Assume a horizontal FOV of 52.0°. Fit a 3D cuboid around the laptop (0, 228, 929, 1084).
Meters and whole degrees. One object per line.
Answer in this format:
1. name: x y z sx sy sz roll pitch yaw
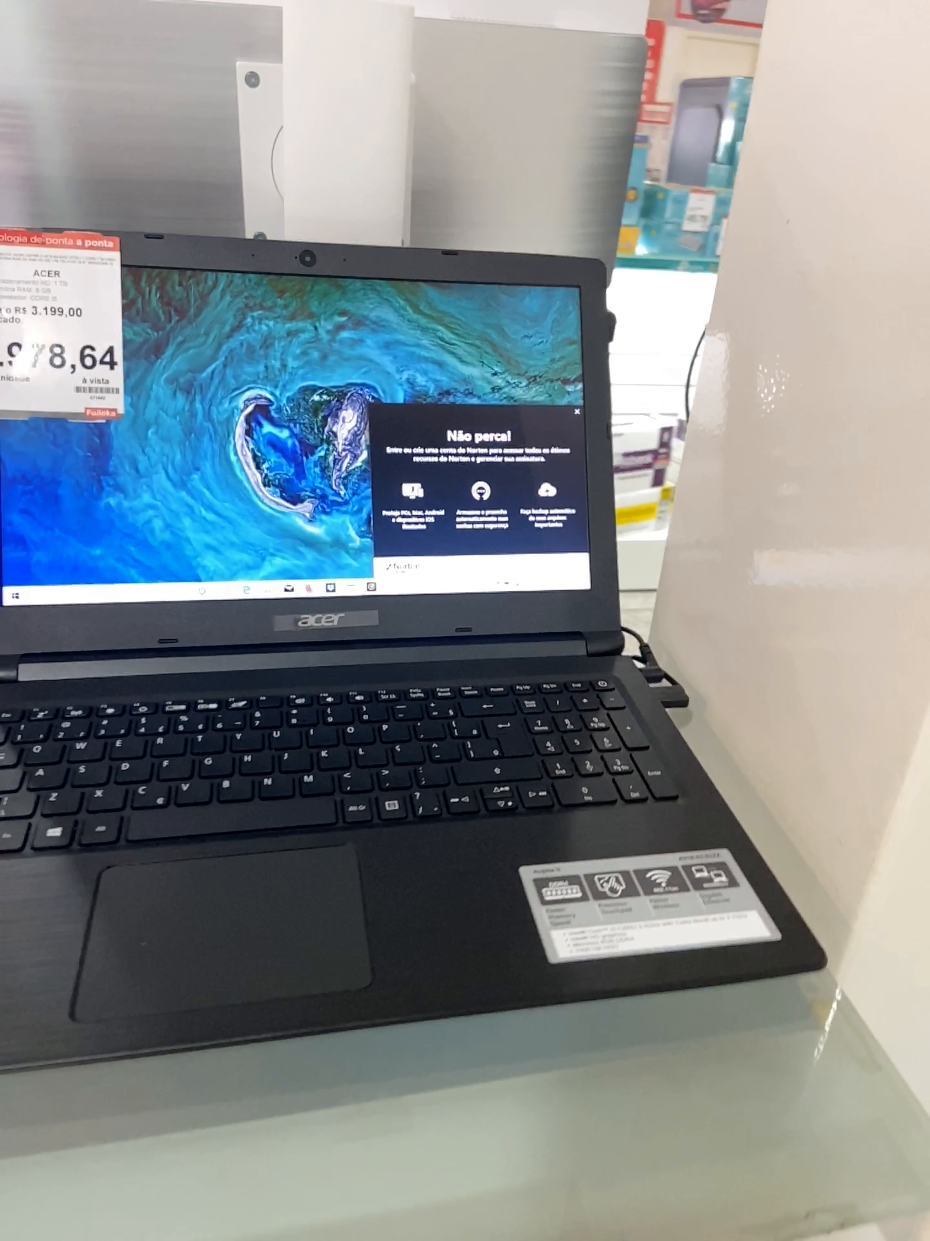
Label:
1. laptop: -0.066 -0.041 0.453 0.369 0.205 0.377 -2 29 -11
